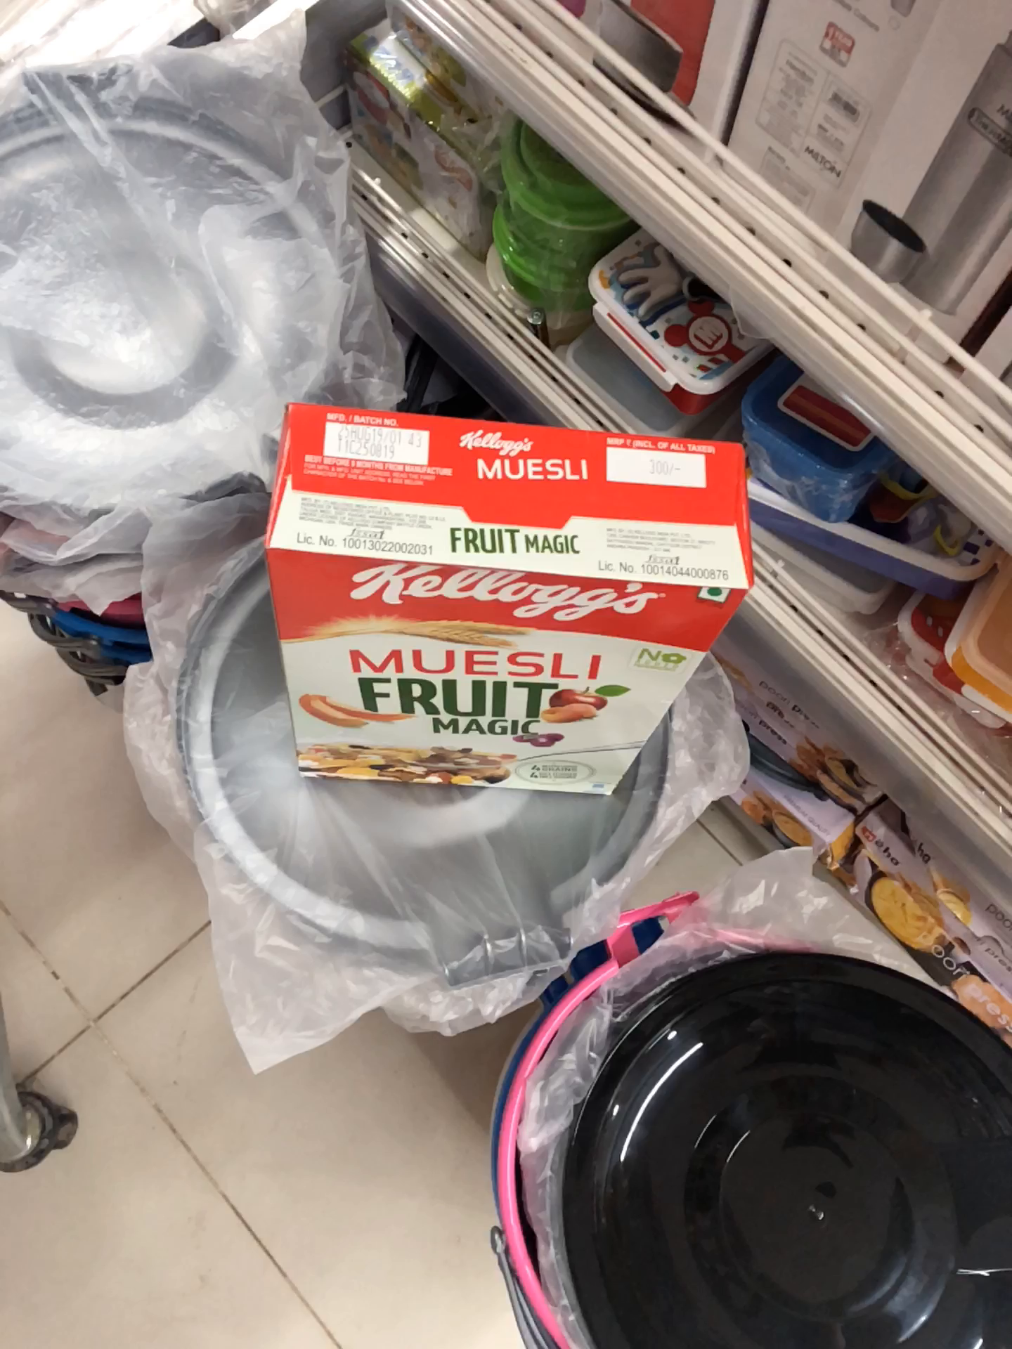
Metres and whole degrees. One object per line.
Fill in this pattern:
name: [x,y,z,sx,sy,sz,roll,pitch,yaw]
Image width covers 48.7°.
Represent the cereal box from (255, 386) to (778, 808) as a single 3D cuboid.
cereal box: [-0.007,-0.017,0.530,0.190,0.250,0.070,5,65,-5]
